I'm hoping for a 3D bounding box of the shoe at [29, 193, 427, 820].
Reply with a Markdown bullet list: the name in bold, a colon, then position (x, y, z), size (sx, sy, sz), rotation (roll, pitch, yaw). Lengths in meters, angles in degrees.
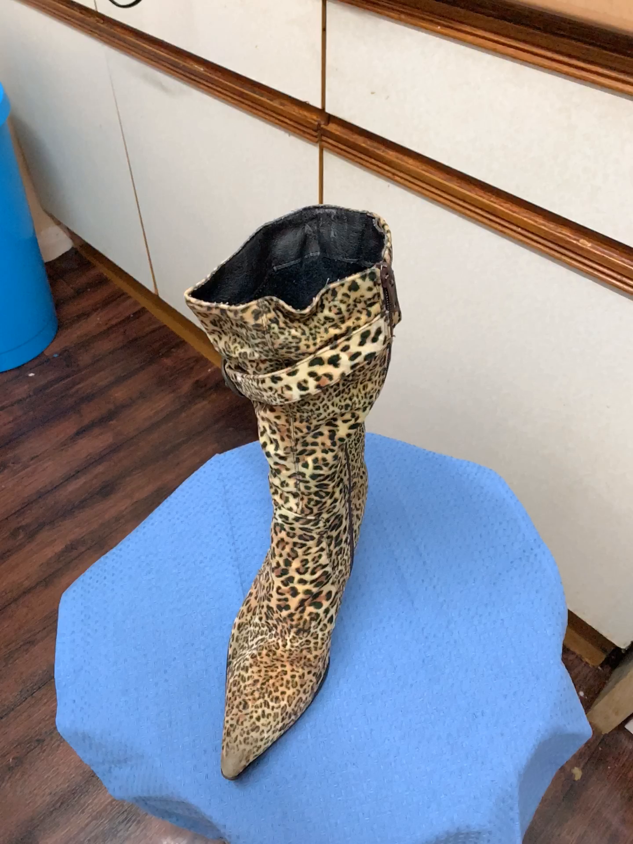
- **shoe**: position (-0.022, 0.075, 0.446), size (0.100, 0.347, 0.262), rotation (14, 49, 11)
